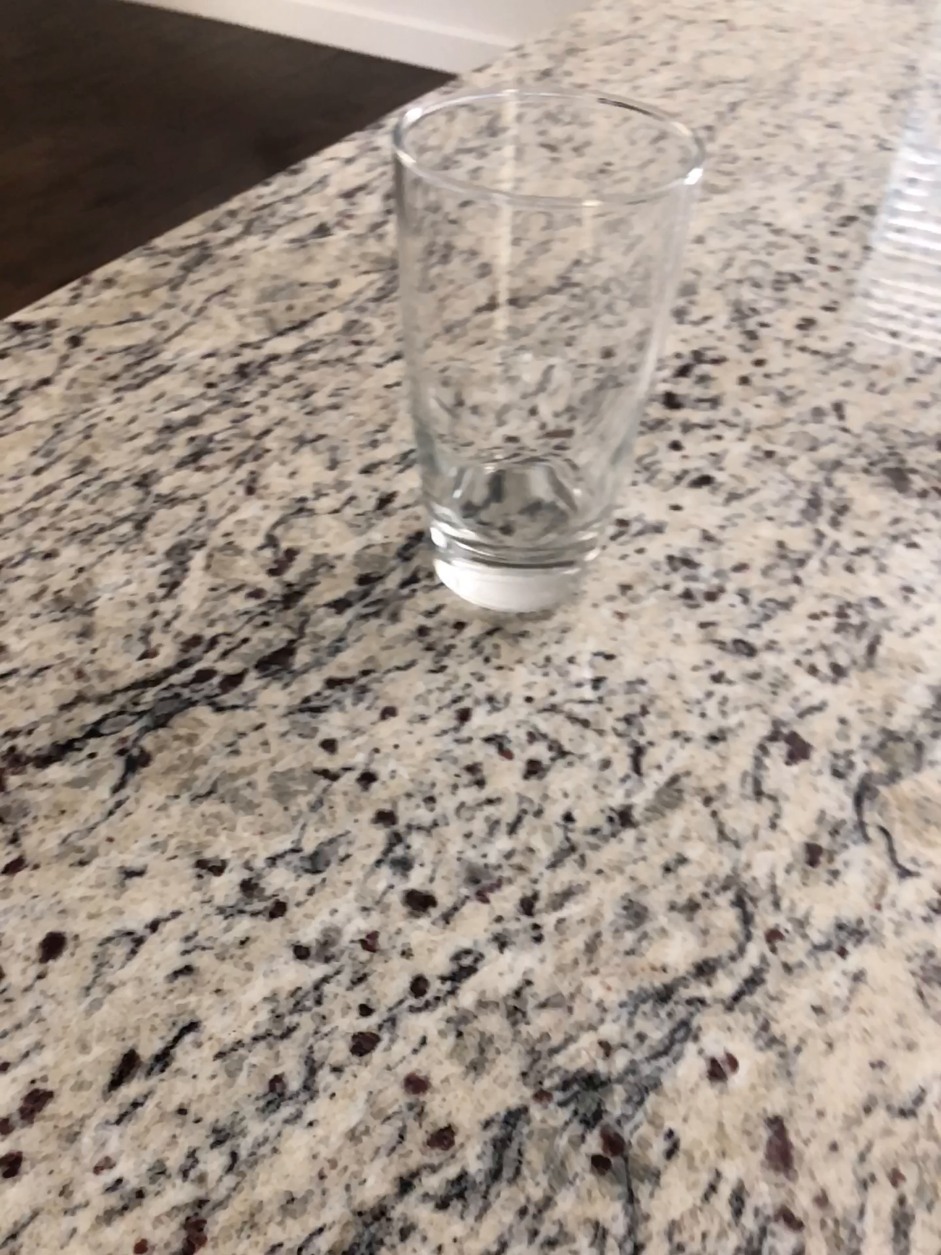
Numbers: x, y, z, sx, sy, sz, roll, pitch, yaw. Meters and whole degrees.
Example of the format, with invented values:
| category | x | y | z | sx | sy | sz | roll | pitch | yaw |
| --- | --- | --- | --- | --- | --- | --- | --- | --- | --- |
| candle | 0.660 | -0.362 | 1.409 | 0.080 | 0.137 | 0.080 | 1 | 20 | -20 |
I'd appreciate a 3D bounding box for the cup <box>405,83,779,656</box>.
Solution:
| category | x | y | z | sx | sy | sz | roll | pitch | yaw |
| --- | --- | --- | --- | --- | --- | --- | --- | --- | --- |
| cup | 0.024 | -0.075 | 0.317 | 0.080 | 0.139 | 0.091 | -3 | 44 | -6 |
